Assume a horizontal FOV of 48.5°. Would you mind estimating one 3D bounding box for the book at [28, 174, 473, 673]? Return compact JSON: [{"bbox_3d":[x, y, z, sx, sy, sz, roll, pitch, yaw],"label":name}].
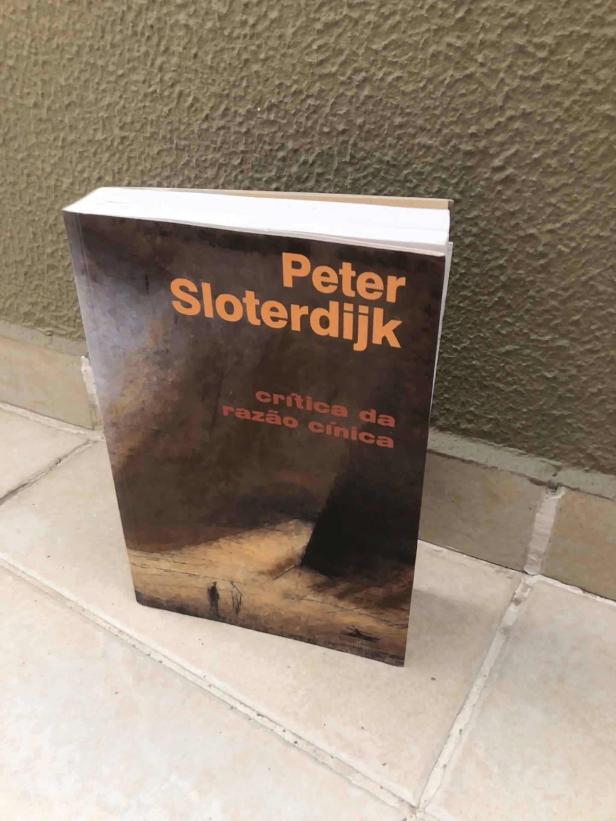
[{"bbox_3d":[-0.021,0.012,0.328,0.165,0.220,0.058,9,34,14],"label":"book"}]
